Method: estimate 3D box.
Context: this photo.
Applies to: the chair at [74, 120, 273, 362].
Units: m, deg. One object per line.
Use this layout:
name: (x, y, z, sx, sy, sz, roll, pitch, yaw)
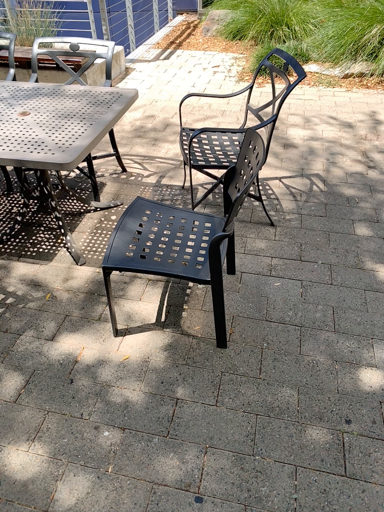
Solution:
chair: (-0.020, -0.053, 1.483, 0.550, 0.716, 0.493, 6, 41, 7)
